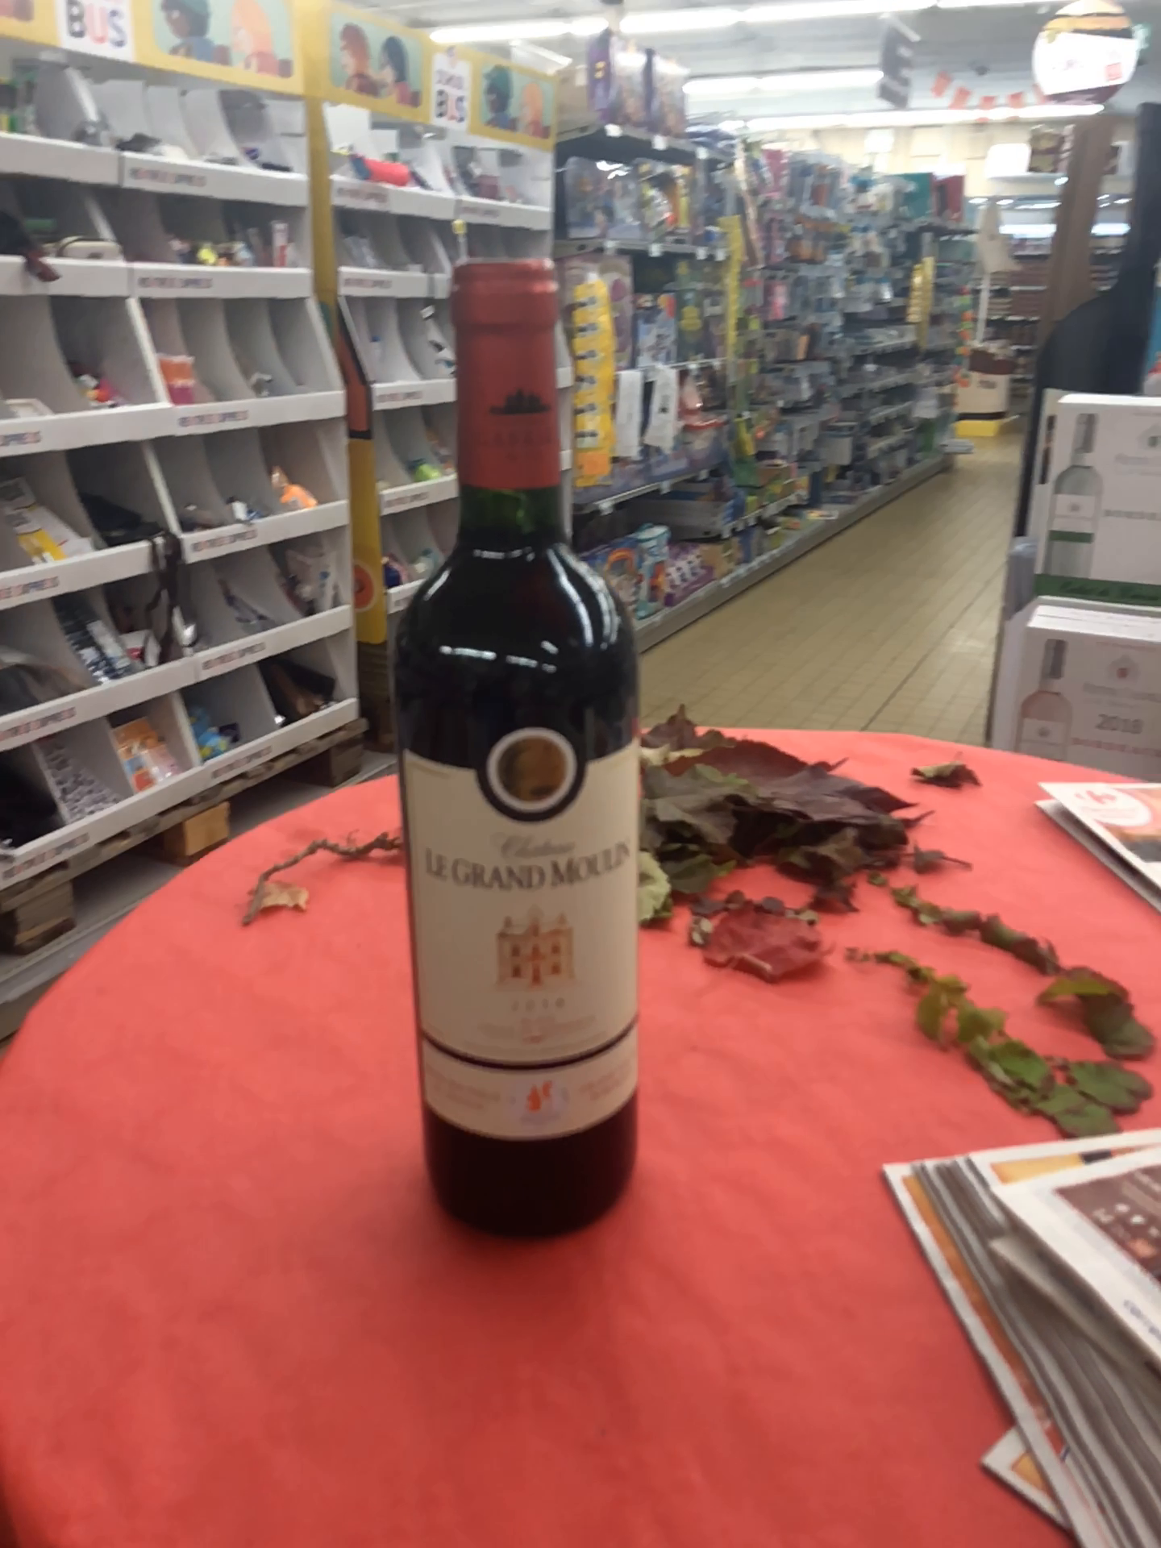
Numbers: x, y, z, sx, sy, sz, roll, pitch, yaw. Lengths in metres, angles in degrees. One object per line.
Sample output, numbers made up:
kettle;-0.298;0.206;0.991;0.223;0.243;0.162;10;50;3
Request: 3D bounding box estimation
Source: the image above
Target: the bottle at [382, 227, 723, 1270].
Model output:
bottle;-0.014;-0.002;0.385;0.080;0.299;0.080;1;20;0
